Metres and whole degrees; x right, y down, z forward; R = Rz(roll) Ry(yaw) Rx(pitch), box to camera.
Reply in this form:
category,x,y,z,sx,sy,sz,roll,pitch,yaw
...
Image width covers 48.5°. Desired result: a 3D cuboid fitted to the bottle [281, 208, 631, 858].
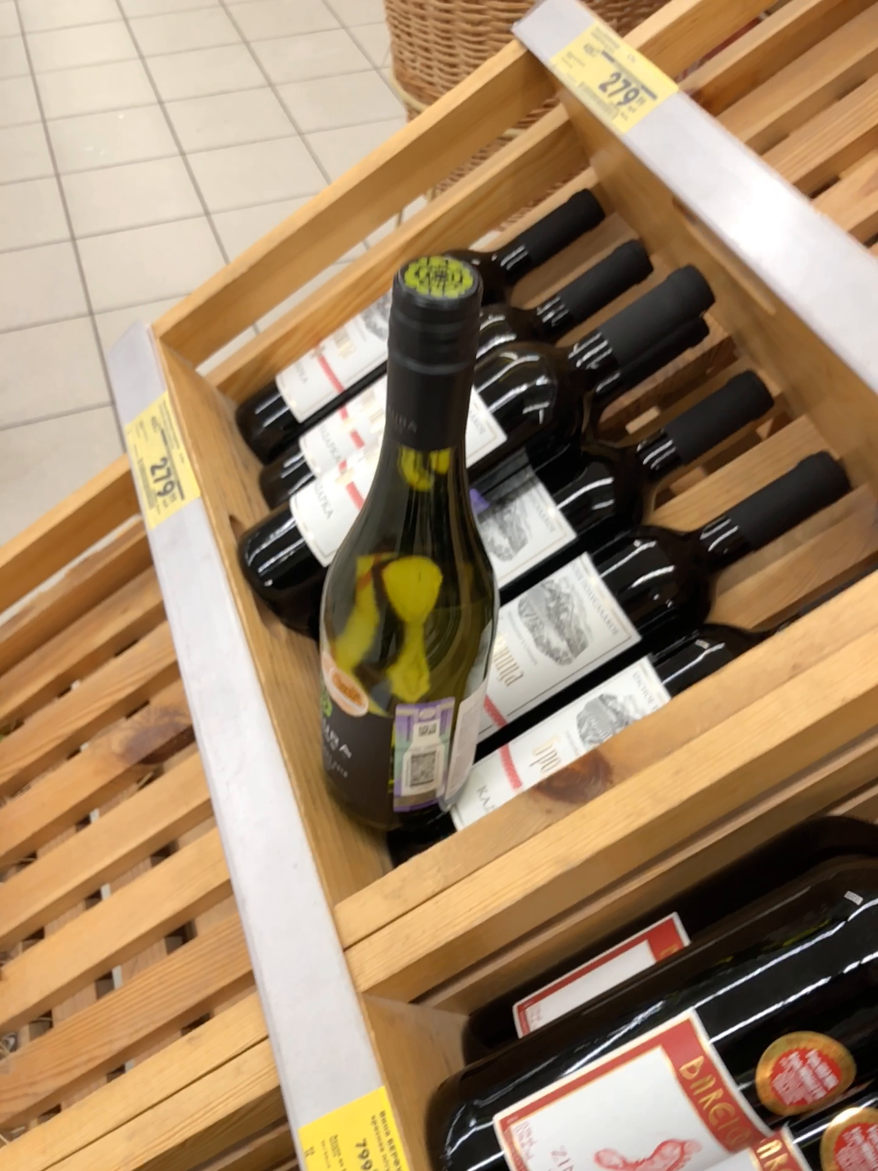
category,x,y,z,sx,sy,sz,roll,pitch,yaw
bottle,-0.009,0.000,0.419,0.090,0.289,0.090,3,48,-3
